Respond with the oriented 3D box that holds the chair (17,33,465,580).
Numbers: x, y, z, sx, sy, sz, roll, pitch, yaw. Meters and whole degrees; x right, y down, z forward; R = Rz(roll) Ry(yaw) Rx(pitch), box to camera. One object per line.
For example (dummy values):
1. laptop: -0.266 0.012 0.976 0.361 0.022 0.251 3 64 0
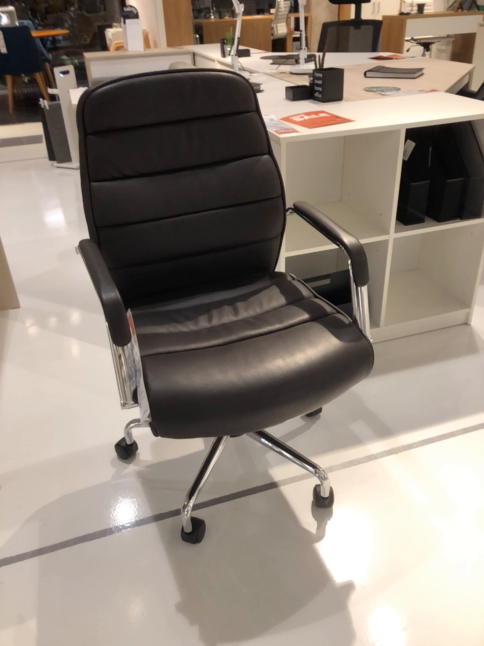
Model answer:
1. chair: -0.038 -0.076 1.208 0.651 0.973 0.574 -13 33 -16
